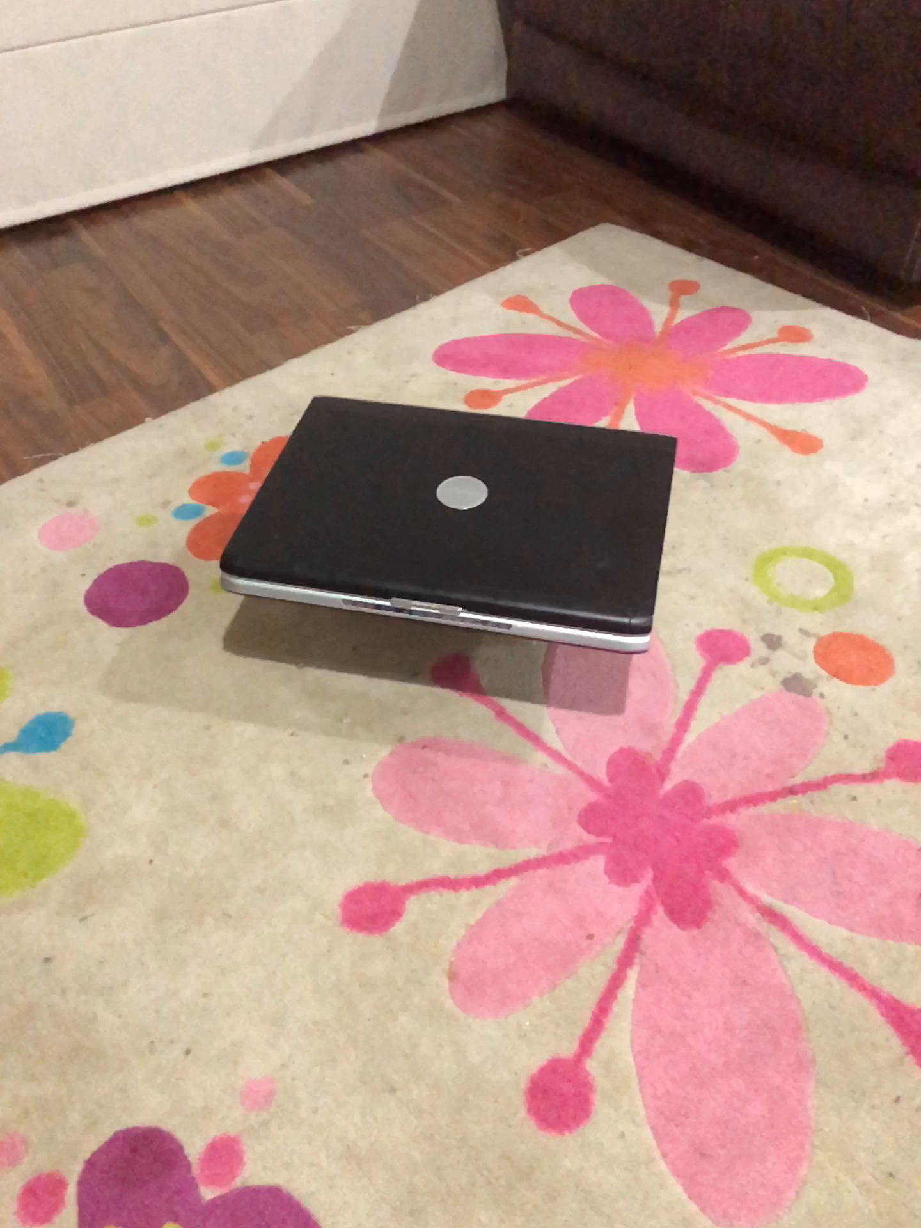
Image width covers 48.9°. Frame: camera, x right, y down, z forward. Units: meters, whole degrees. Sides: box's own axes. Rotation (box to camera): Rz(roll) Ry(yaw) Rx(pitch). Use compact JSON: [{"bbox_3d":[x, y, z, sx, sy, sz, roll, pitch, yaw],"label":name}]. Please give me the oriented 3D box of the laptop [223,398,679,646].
[{"bbox_3d":[-0.001,-0.094,0.882,0.353,0.015,0.233,8,50,13],"label":"laptop"}]
